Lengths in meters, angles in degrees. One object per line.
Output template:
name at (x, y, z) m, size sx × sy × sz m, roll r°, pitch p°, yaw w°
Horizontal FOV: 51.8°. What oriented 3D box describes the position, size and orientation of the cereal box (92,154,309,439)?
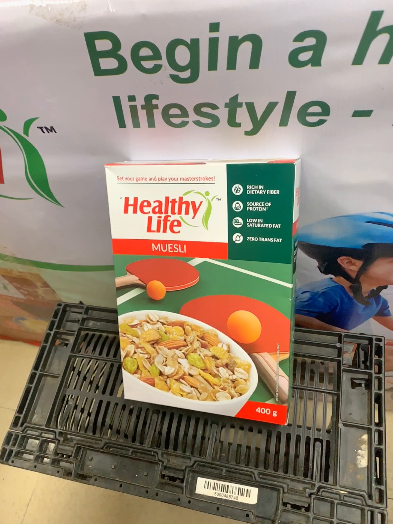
cereal box at (0.010, 0.023, 0.374) m, size 0.170 × 0.230 × 0.080 m, roll 3°, pitch 14°, yaw 18°
